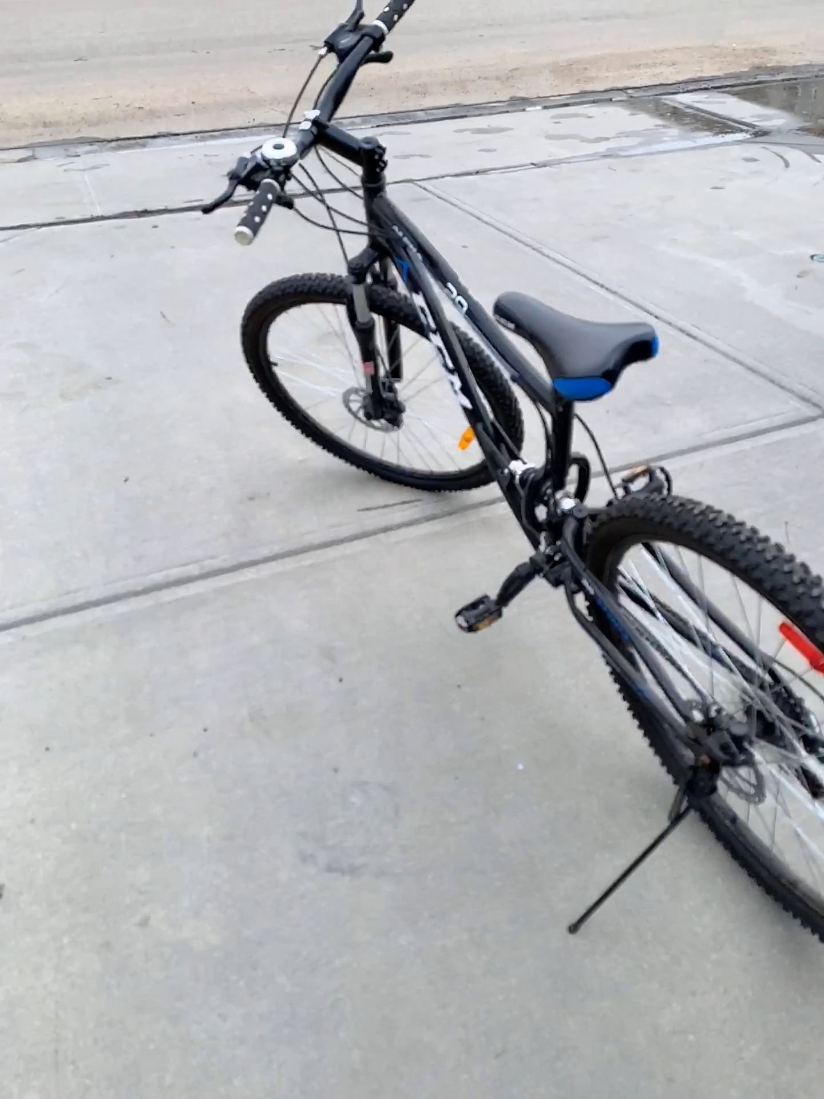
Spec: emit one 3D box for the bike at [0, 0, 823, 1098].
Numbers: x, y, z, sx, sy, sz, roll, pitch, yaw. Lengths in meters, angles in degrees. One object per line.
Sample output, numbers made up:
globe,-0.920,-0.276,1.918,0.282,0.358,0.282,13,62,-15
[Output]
bike,0.058,-0.118,1.322,0.628,1.173,1.795,-24,46,-26
